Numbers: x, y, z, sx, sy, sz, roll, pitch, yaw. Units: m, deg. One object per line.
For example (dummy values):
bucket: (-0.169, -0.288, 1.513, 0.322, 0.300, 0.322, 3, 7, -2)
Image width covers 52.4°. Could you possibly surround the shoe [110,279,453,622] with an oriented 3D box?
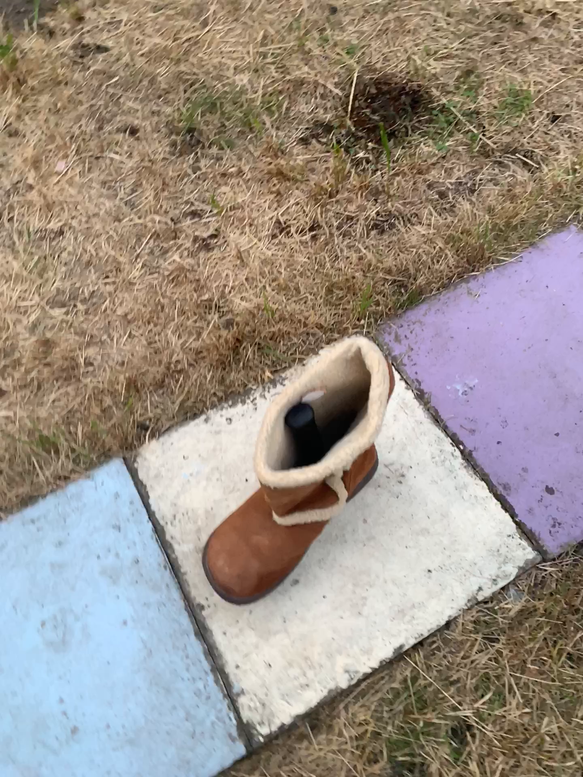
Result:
shoe: (0.002, 0.085, 0.599, 0.261, 0.298, 0.110, -37, 67, -16)
